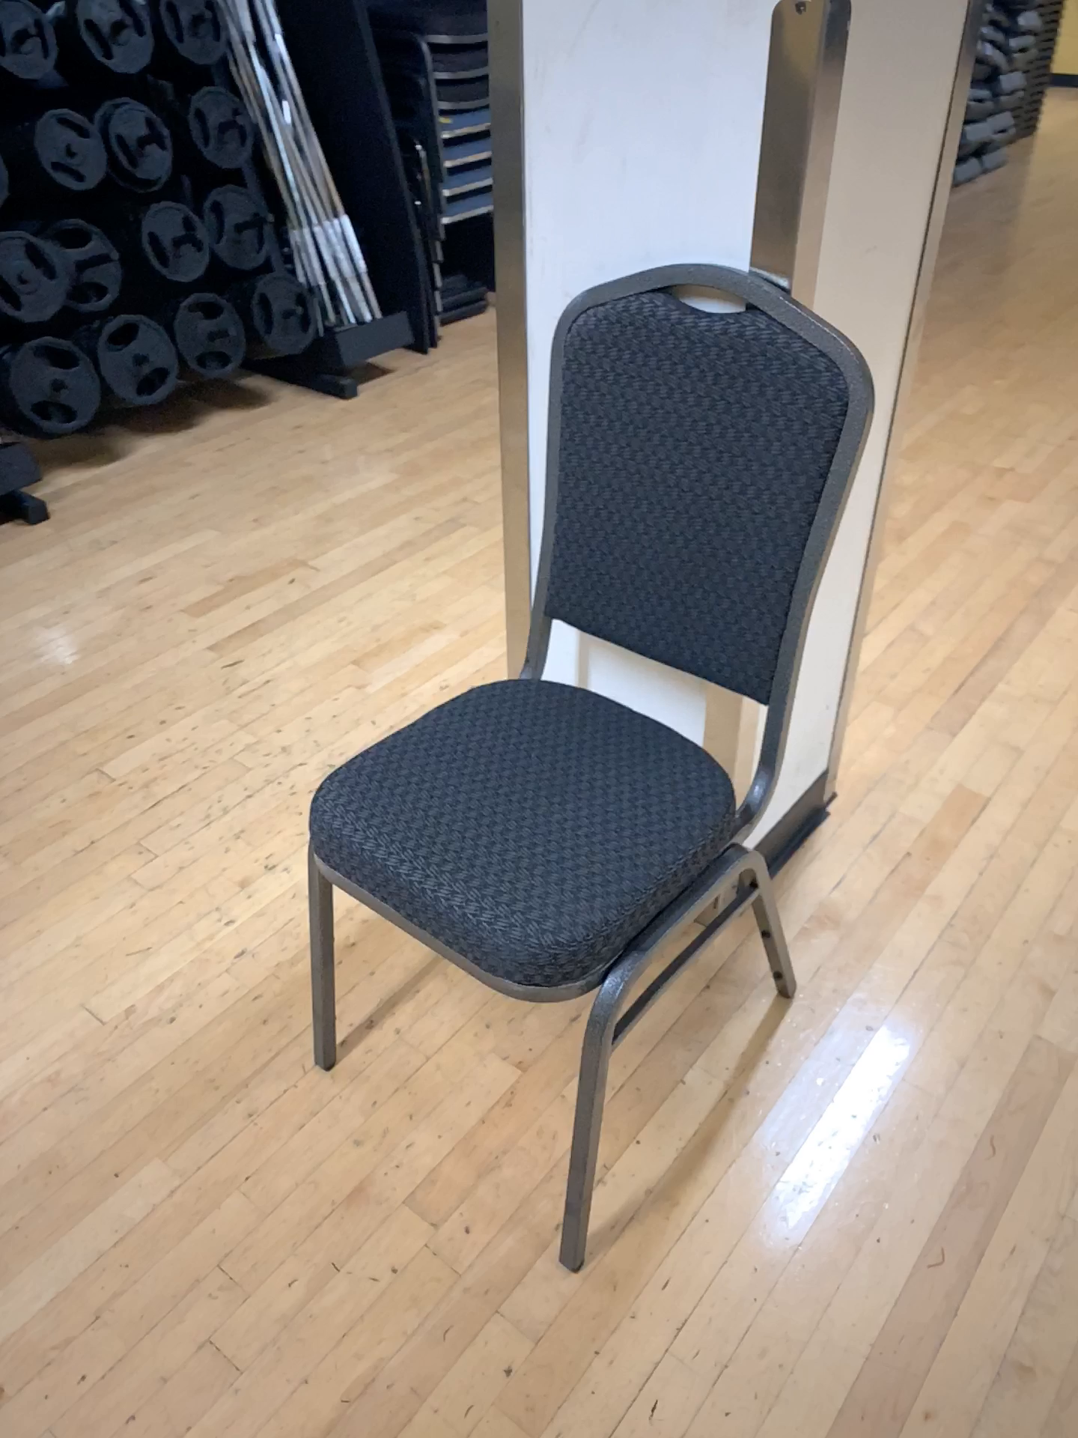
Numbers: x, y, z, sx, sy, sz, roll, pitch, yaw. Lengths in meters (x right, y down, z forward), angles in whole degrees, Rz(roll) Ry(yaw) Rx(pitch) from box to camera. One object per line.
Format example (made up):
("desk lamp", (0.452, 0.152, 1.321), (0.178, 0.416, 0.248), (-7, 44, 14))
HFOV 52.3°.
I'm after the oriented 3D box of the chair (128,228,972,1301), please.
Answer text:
("chair", (0.035, 0.035, 1.198), (0.465, 0.908, 0.566), (26, 44, 31))
